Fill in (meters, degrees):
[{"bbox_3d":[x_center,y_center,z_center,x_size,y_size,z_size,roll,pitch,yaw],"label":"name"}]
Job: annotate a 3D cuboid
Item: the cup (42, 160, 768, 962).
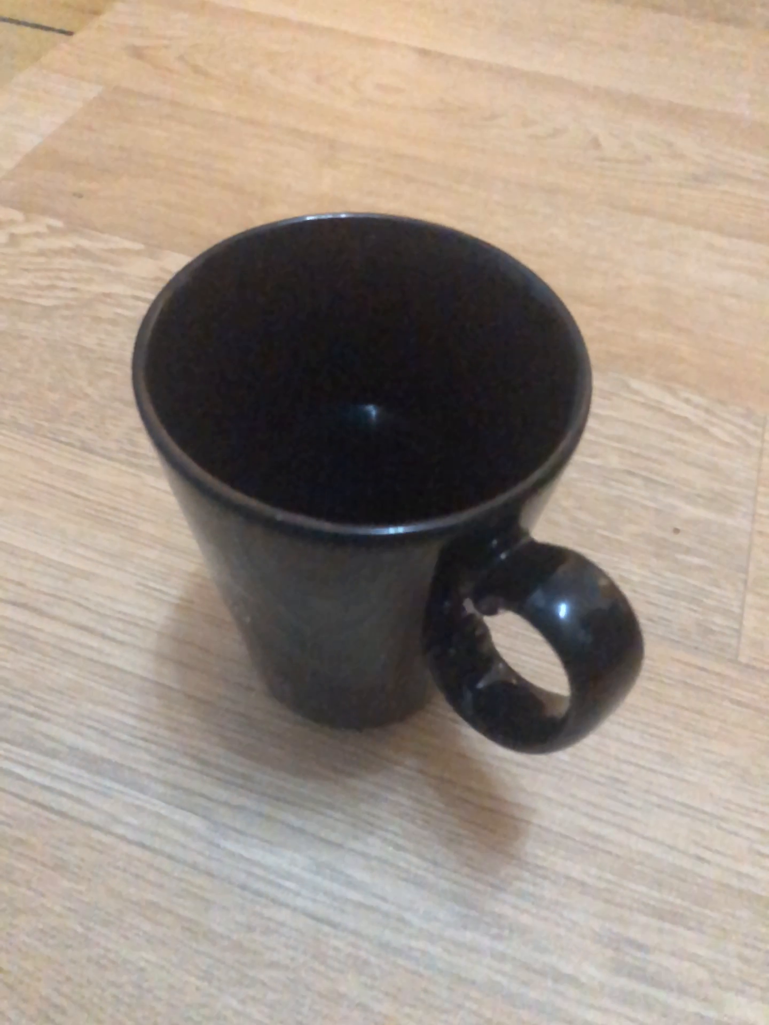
[{"bbox_3d":[0.007,0.006,0.186,0.090,0.090,0.120,-32,61,-24],"label":"cup"}]
